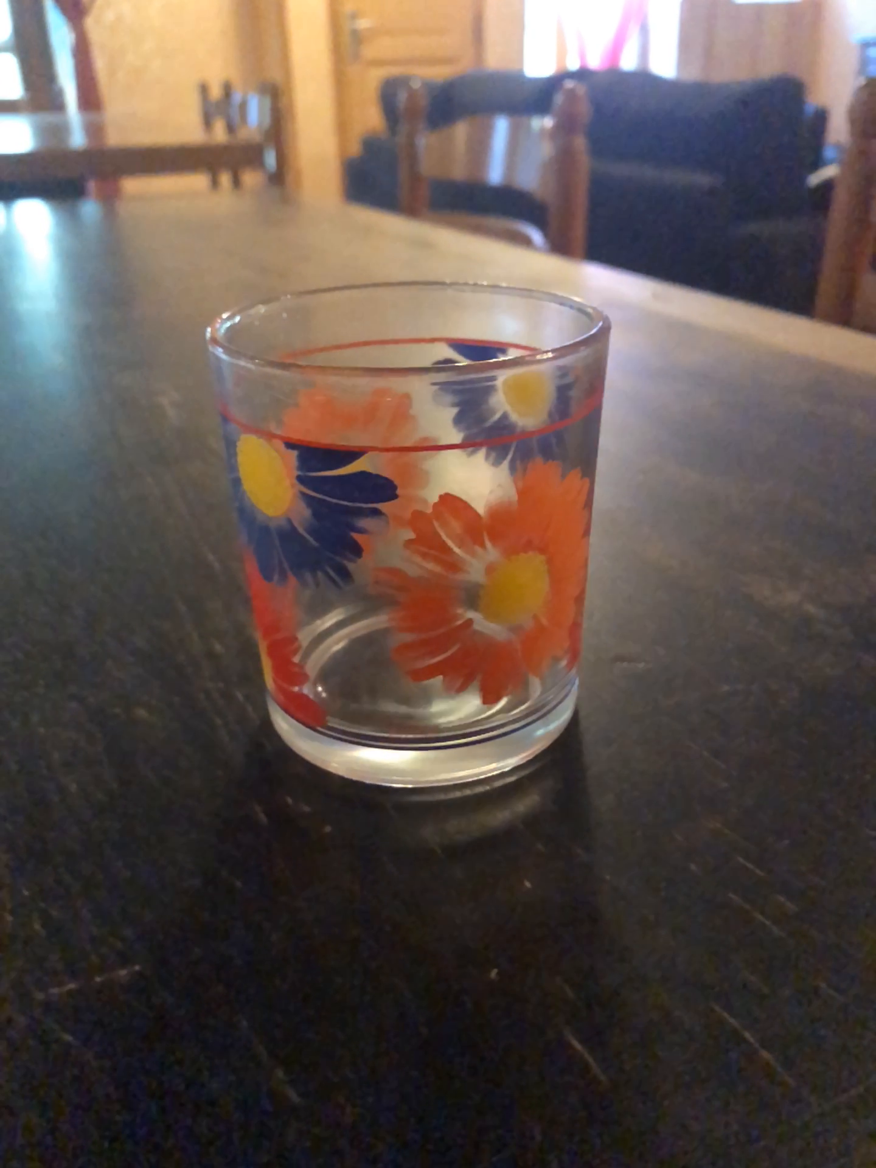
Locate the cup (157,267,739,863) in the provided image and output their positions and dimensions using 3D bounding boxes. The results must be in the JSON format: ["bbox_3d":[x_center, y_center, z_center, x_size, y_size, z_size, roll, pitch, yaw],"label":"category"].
[{"bbox_3d":[-0.002,-0.012,0.192,0.078,0.079,0.076,-1,27,1],"label":"cup"}]
